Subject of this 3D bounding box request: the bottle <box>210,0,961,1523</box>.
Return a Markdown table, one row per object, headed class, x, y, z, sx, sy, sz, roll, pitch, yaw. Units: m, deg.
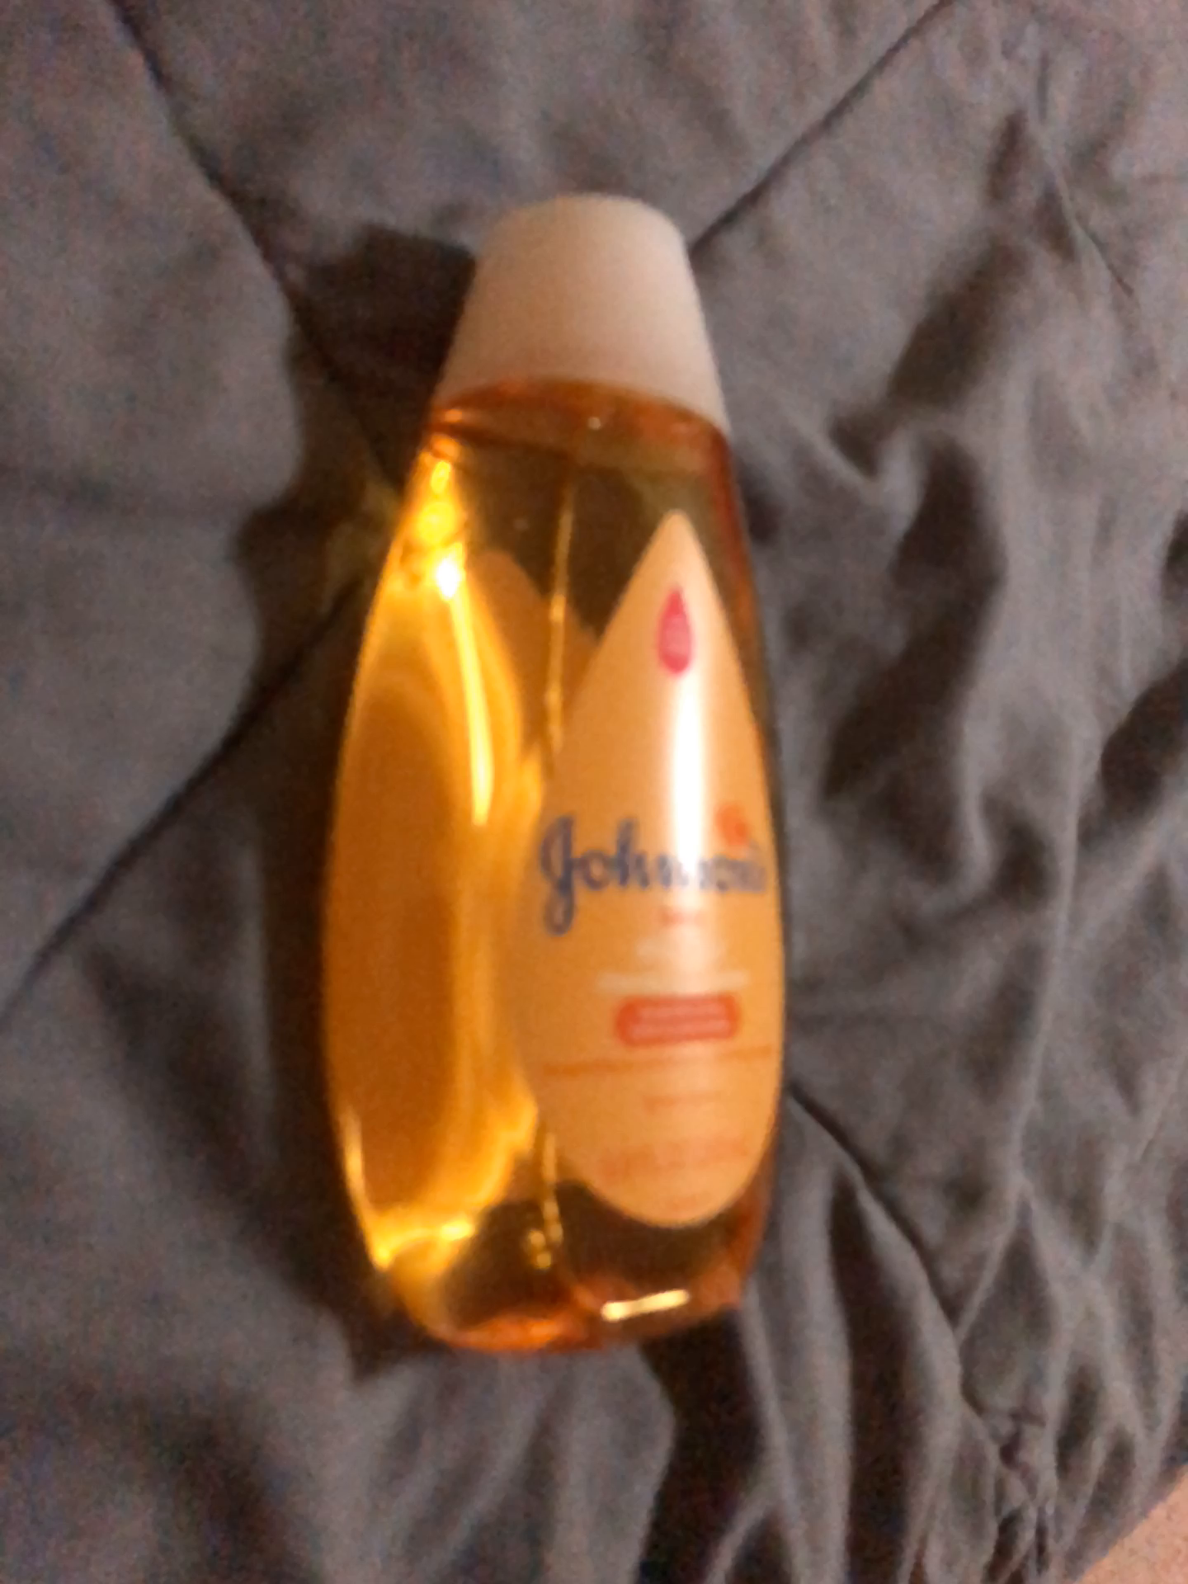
| class | x | y | z | sx | sy | sz | roll | pitch | yaw |
| --- | --- | --- | --- | --- | --- | --- | --- | --- | --- |
| bottle | 0.001 | -0.011 | 0.167 | 0.084 | 0.040 | 0.160 | 0 | 86 | -41 |
